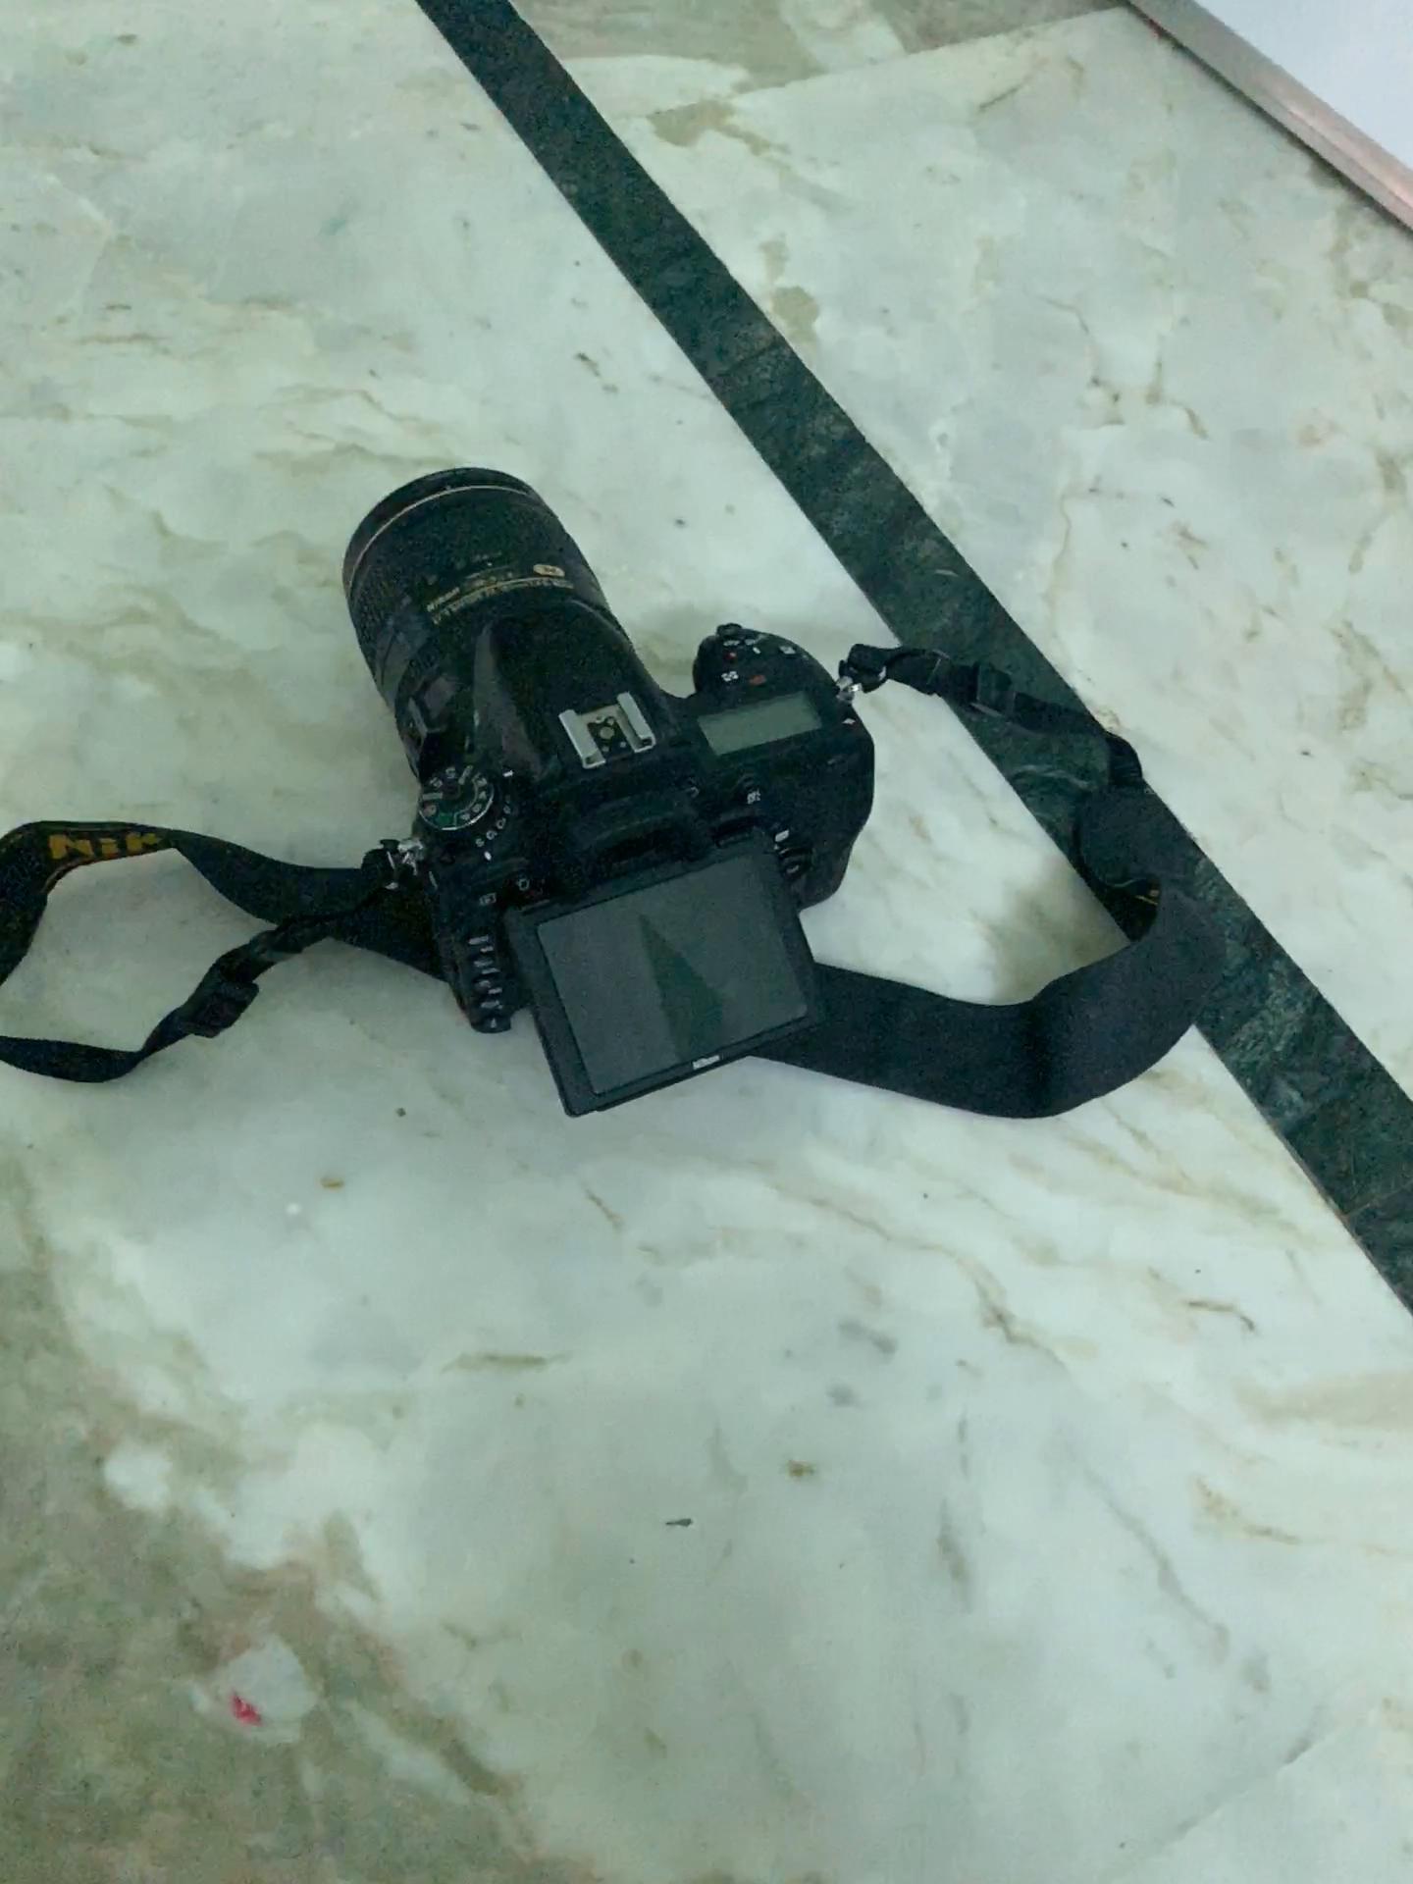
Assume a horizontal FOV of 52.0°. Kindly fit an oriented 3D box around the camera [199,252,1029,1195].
[{"bbox_3d":[-0.041,-0.080,0.447,0.146,0.100,0.258,-19,61,-14],"label":"camera"}]
